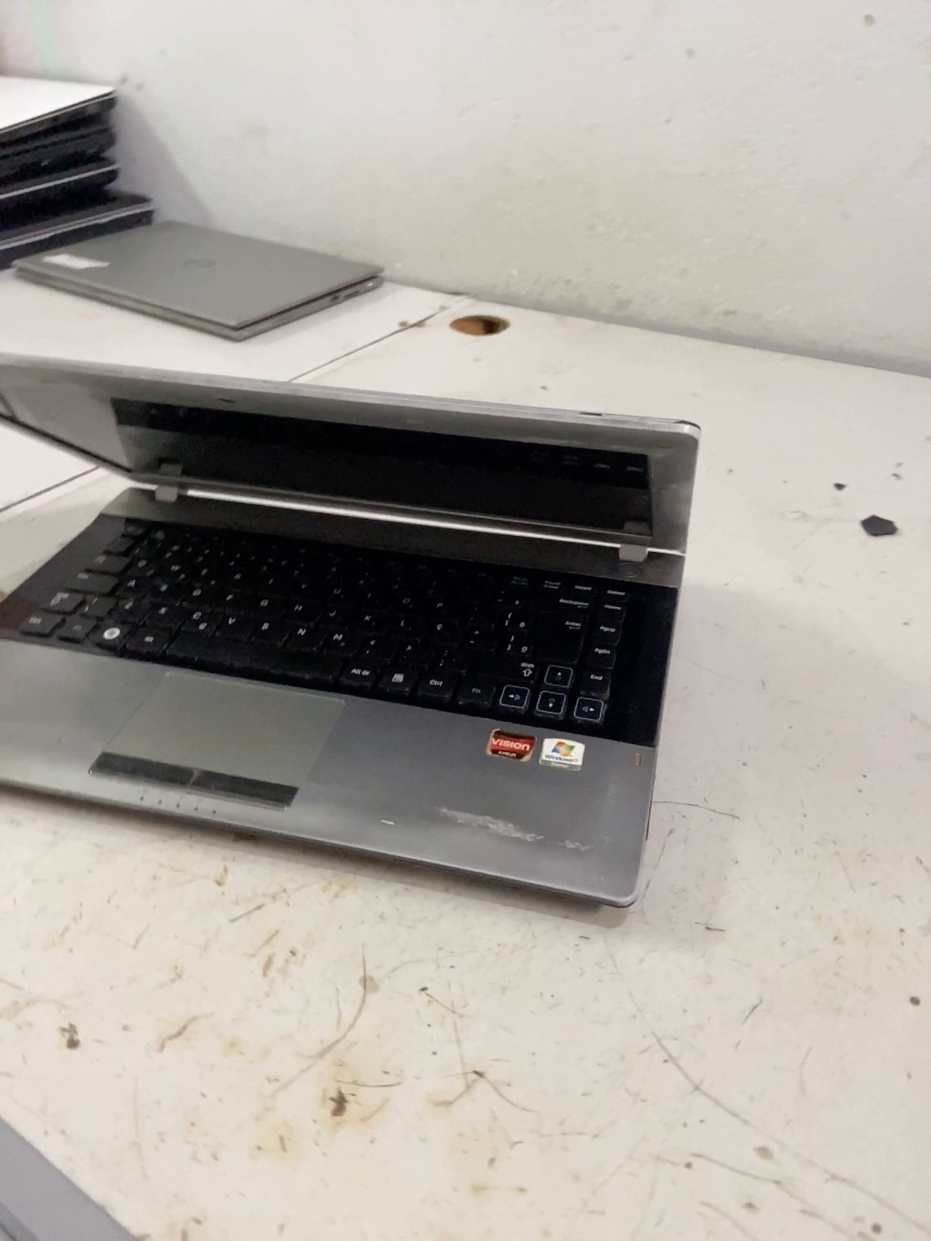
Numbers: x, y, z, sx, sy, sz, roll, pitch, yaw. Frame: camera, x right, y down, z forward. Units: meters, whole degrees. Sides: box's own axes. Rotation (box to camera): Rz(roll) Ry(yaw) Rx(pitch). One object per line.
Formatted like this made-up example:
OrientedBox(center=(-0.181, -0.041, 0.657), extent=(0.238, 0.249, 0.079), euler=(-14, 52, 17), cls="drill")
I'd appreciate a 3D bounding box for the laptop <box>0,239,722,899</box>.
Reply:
OrientedBox(center=(-0.077, -0.052, 0.431), extent=(0.344, 0.150, 0.234), euler=(8, 37, 12), cls="laptop")
